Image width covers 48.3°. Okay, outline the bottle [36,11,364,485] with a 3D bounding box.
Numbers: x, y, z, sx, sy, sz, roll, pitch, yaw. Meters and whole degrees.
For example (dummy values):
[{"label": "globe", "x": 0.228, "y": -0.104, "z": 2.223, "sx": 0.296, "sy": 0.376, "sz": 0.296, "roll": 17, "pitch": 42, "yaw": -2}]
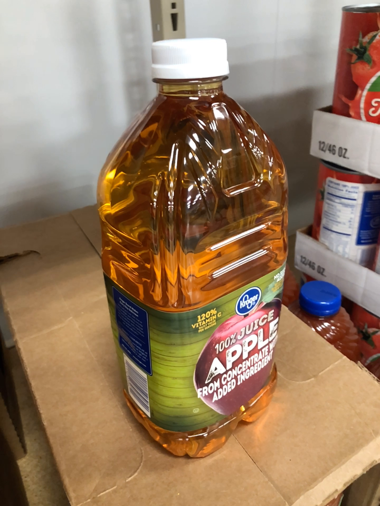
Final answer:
[{"label": "bottle", "x": 0.008, "y": -0.001, "z": 0.270, "sx": 0.120, "sy": 0.259, "sz": 0.100, "roll": -24, "pitch": 38, "yaw": -30}]
